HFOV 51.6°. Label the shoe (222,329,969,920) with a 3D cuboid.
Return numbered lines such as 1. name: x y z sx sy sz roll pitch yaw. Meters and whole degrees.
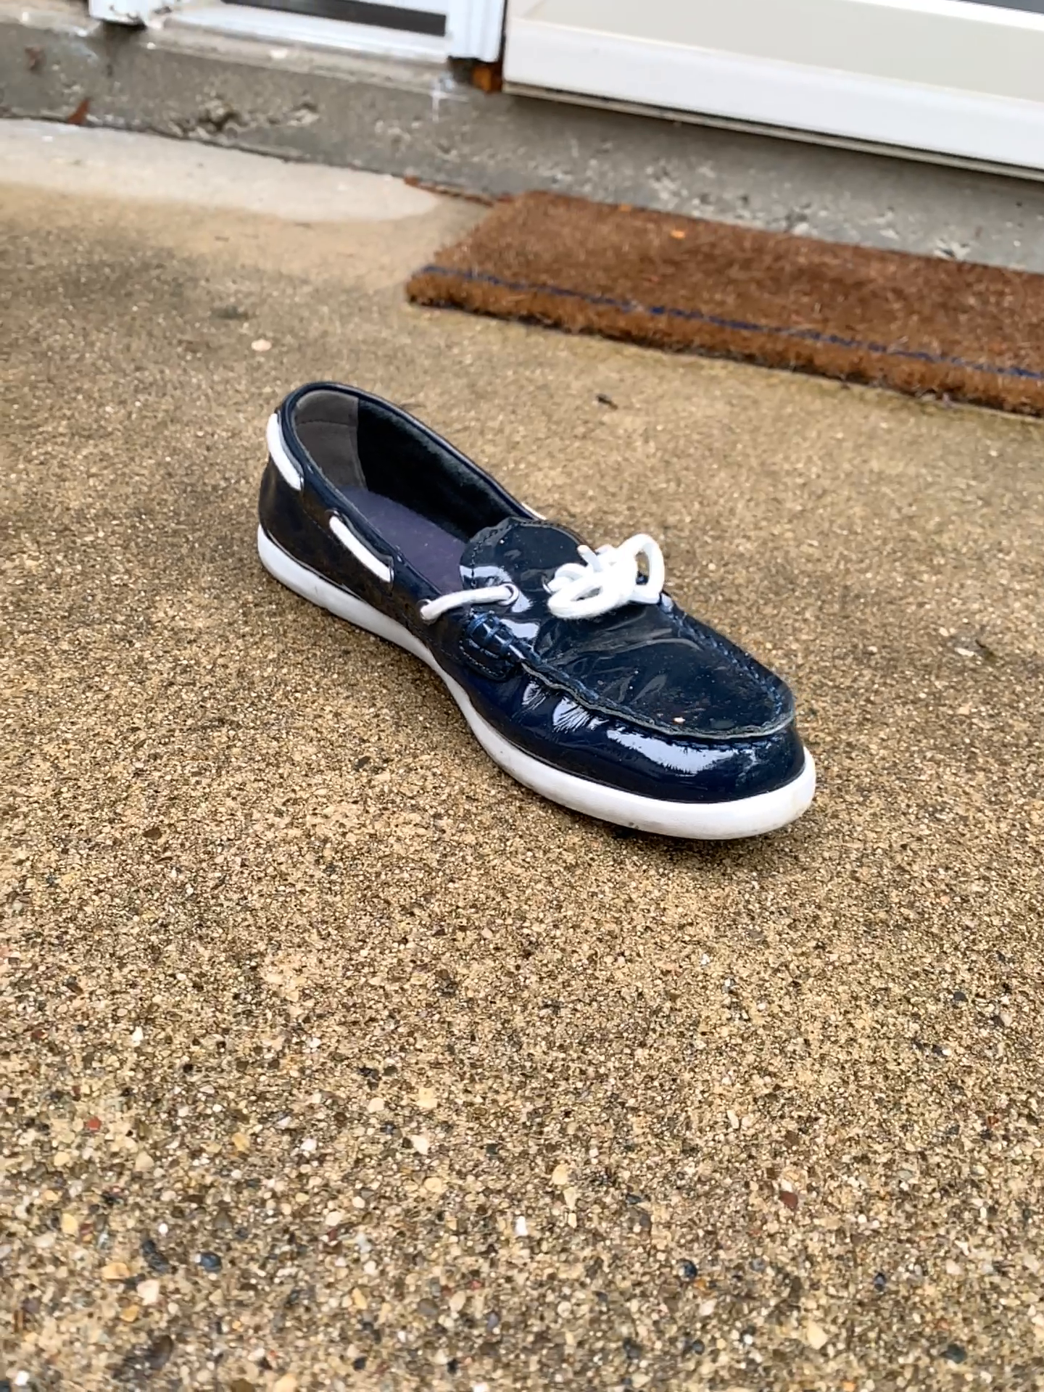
1. shoe: 0.006 -0.046 0.376 0.101 0.083 0.246 -23 44 -39
